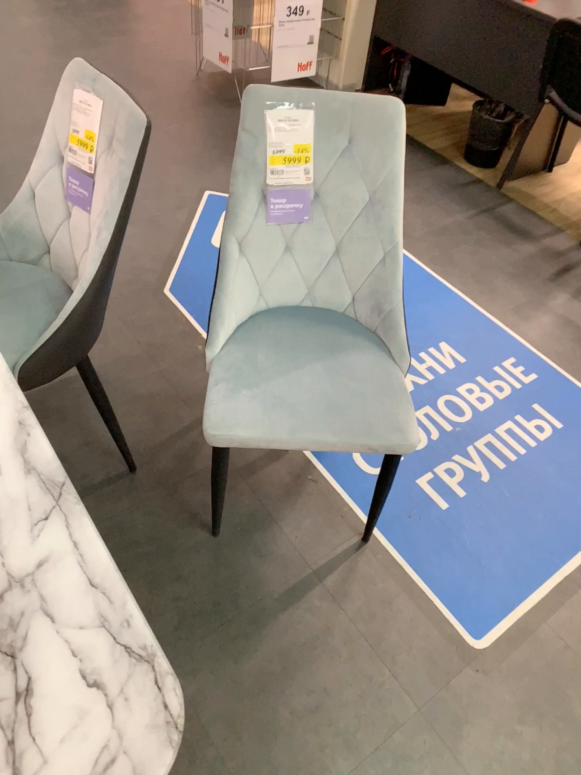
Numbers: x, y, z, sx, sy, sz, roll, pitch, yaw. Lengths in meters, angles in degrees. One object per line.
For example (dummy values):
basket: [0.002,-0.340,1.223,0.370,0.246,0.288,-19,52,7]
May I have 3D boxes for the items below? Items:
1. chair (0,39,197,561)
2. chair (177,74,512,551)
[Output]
chair: [-0.662,-0.196,1.380,0.667,0.880,0.570,-25,55,-28]
chair: [0.034,-0.108,1.333,0.470,0.885,0.553,3,47,-5]
